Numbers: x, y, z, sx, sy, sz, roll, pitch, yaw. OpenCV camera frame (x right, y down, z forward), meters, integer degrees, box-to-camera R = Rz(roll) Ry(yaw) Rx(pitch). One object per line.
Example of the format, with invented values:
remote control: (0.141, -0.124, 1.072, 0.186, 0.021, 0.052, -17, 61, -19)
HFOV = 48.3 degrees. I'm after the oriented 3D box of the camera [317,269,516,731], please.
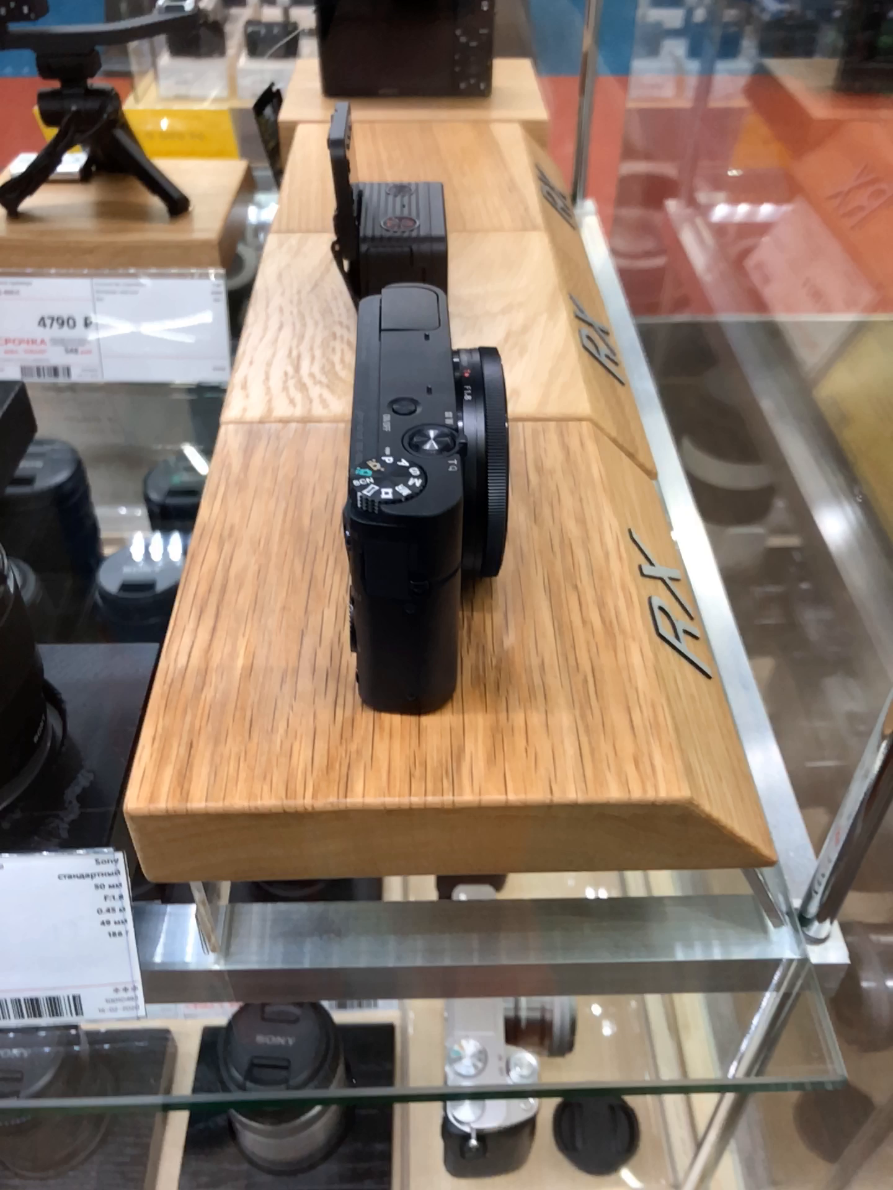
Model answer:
camera: (-0.008, -0.028, 0.246, 0.037, 0.062, 0.107, -1, 42, -2)
